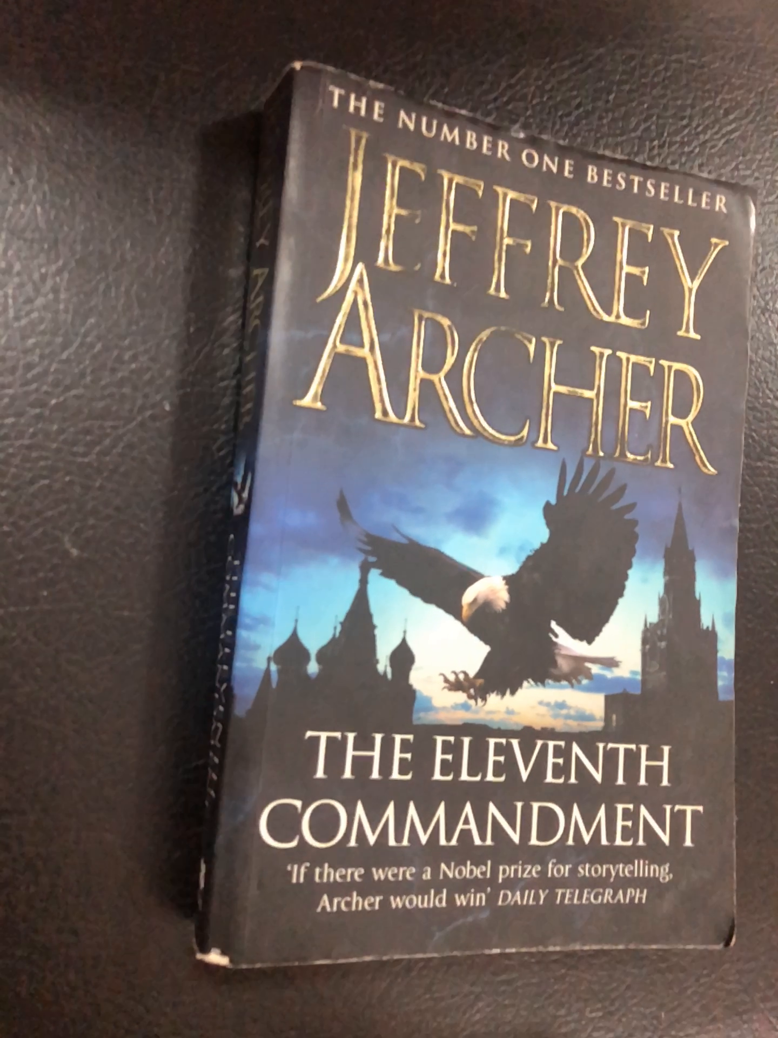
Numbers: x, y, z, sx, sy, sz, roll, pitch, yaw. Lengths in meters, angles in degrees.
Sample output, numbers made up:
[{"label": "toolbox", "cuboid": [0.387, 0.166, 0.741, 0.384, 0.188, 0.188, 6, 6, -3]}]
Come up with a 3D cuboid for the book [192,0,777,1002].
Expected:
[{"label": "book", "cuboid": [0.036, -0.007, 0.200, 0.130, 0.040, 0.200, 8, 84, -22]}]
